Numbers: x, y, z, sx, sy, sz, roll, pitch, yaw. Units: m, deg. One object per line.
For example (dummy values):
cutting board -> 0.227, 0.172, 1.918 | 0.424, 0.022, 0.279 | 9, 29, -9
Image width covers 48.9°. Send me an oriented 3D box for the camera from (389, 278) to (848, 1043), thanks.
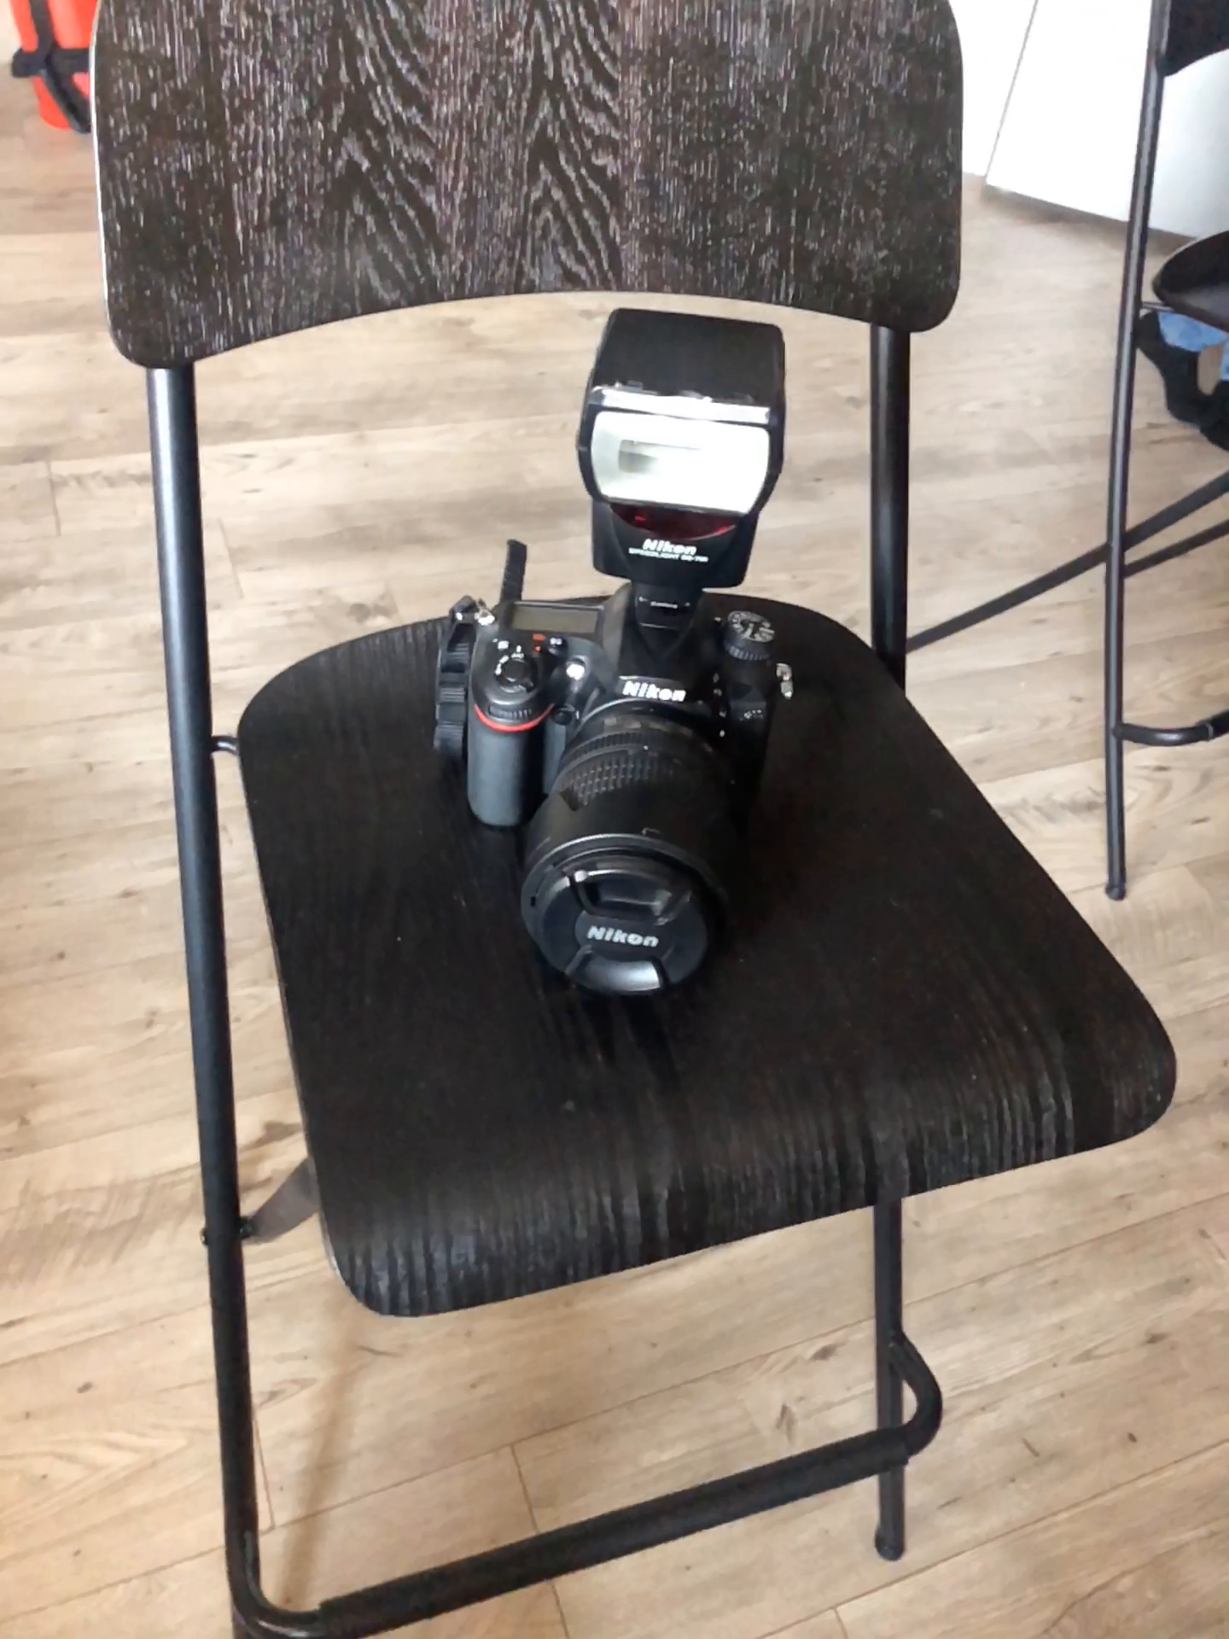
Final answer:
camera -> 0.002, -0.054, 0.503 | 0.125, 0.217, 0.168 | 4, 45, 1
